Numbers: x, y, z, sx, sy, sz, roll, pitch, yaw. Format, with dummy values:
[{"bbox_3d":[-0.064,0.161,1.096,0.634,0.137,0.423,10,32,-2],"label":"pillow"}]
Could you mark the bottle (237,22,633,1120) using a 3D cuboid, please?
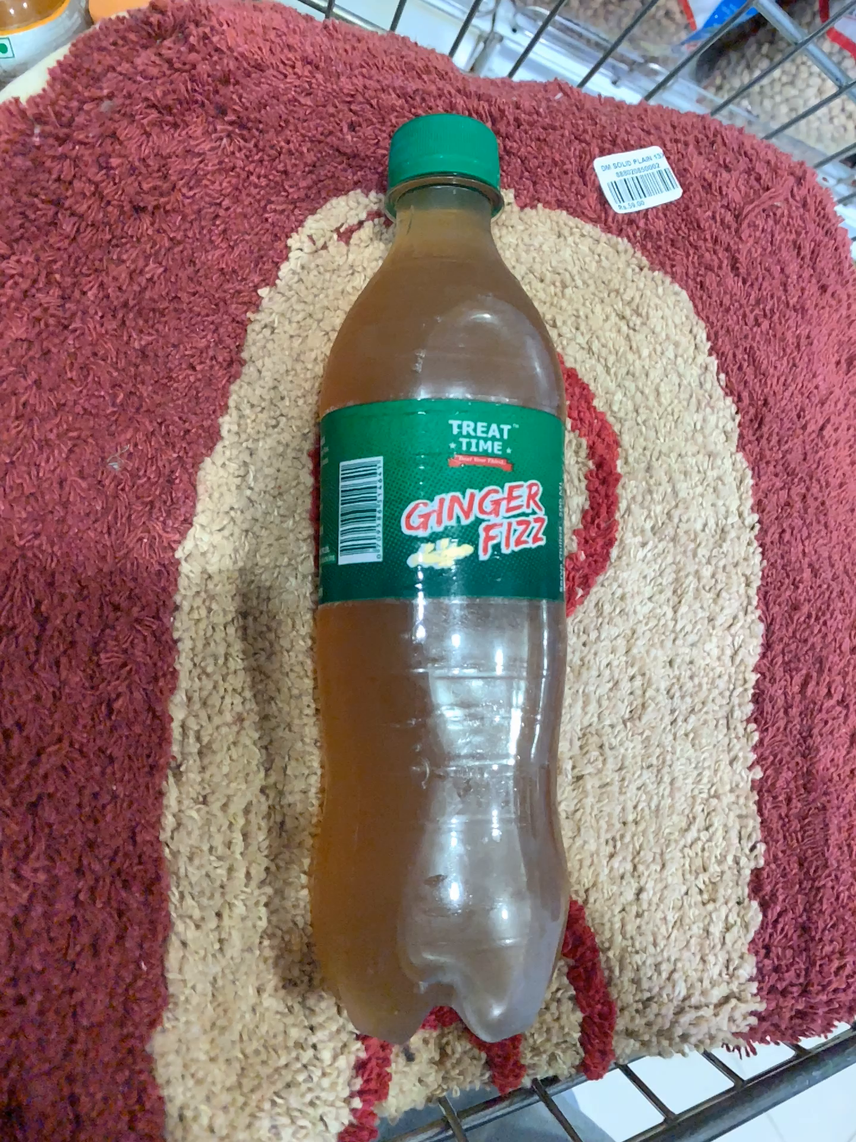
[{"bbox_3d":[-0.001,0.000,0.223,0.070,0.070,0.220,3,87,-25],"label":"bottle"}]
